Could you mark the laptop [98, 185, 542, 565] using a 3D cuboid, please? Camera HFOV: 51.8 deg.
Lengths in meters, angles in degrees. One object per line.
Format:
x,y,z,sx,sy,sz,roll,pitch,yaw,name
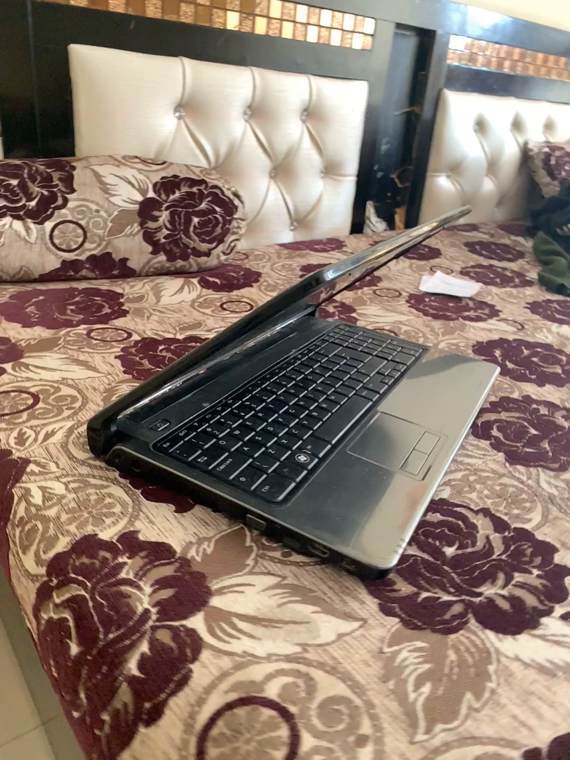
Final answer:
0.060,-0.054,0.507,0.220,0.154,0.365,19,29,23,laptop
